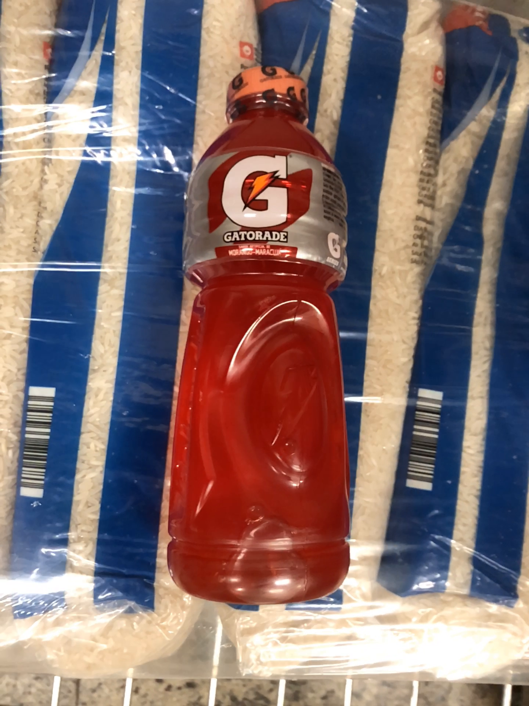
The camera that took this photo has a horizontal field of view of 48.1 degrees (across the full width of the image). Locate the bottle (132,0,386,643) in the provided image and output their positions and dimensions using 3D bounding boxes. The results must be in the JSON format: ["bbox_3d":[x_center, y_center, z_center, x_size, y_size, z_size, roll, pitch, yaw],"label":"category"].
[{"bbox_3d":[-0.002,-0.016,0.226,0.080,0.060,0.220,1,86,-5],"label":"bottle"}]
